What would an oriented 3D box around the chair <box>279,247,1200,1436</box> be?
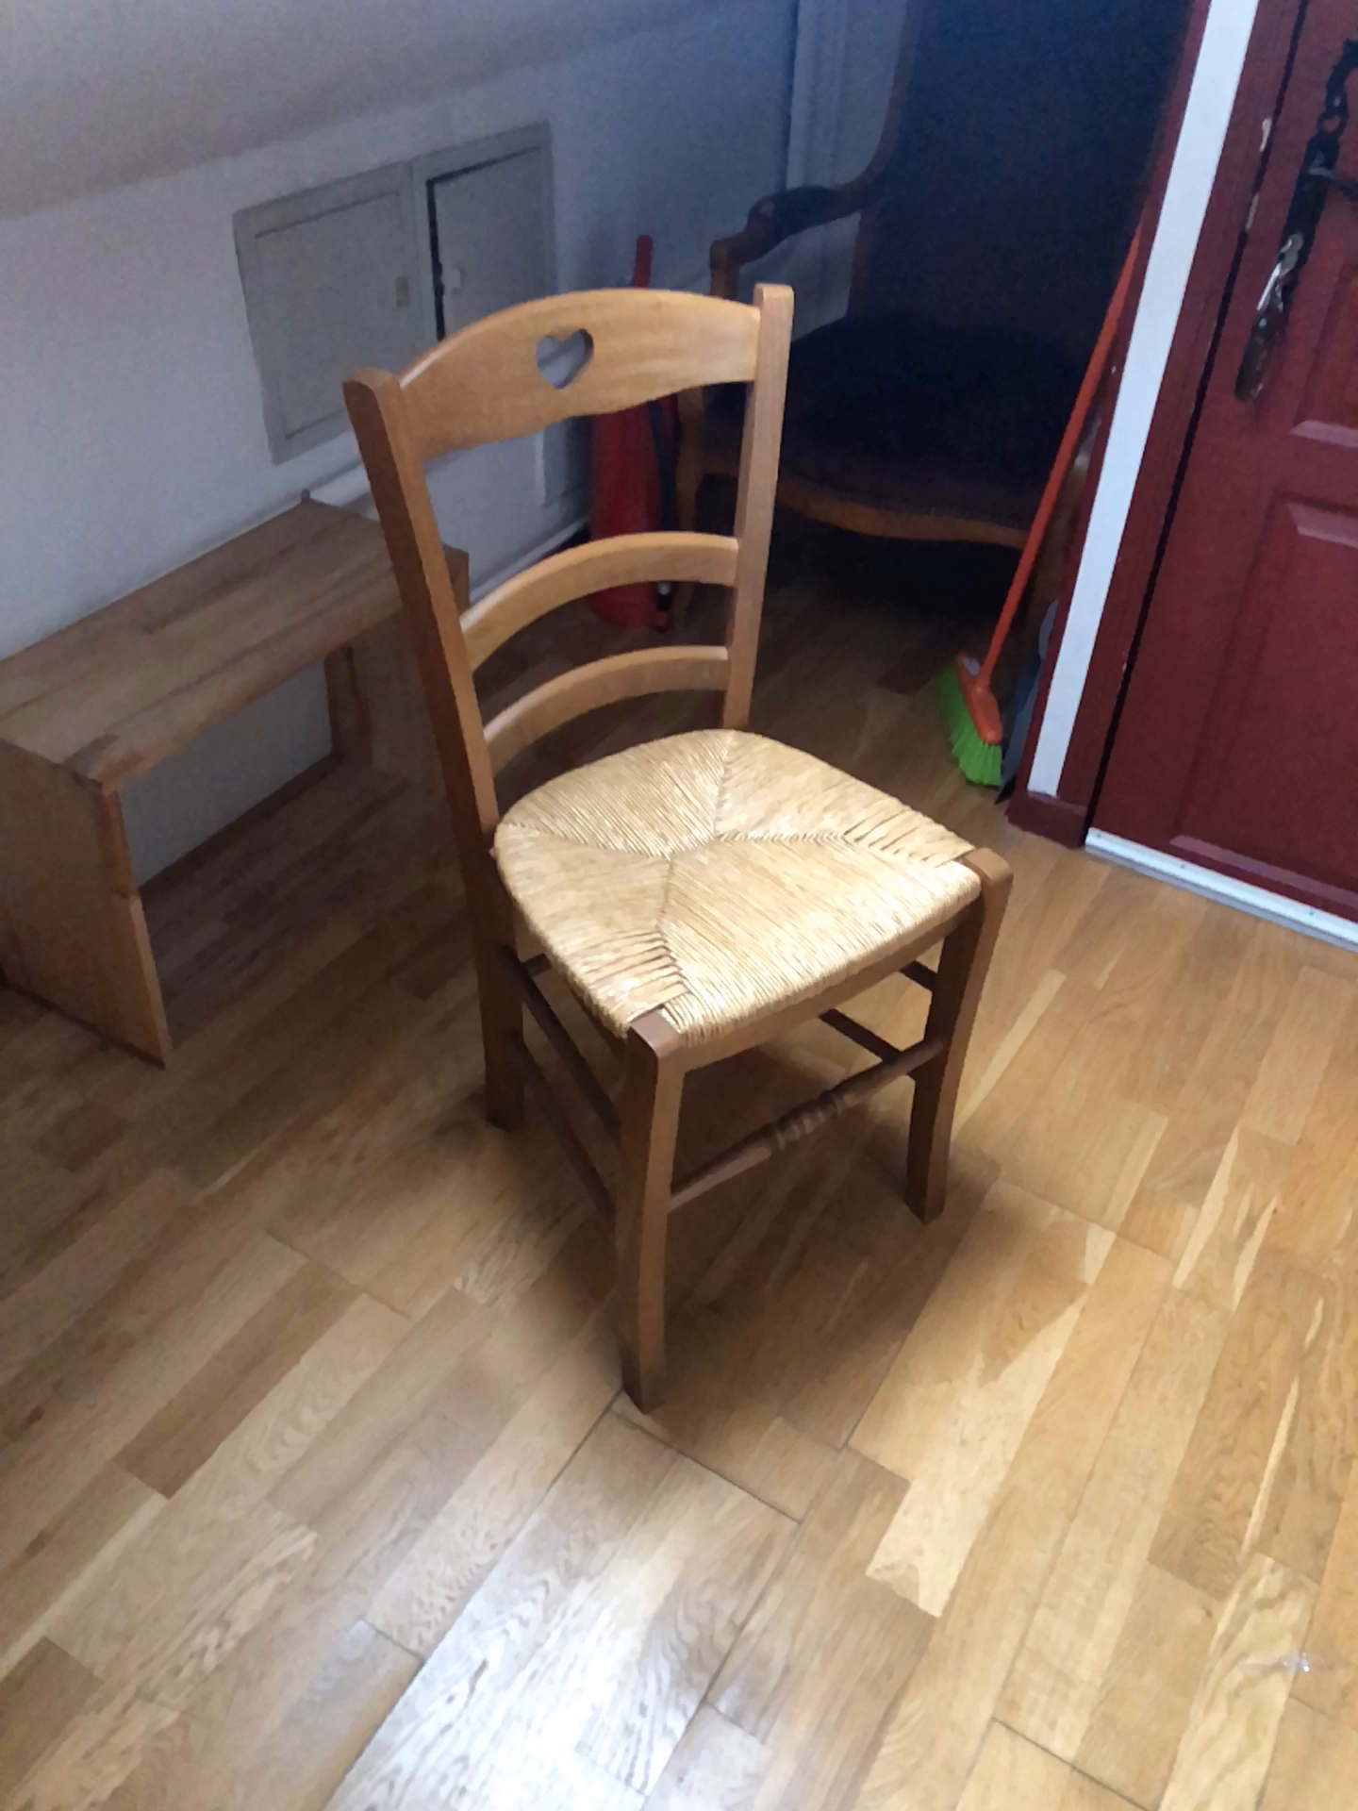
[{"bbox_3d":[0.020,-0.055,1.260,0.460,0.792,0.434,-25,47,-31],"label":"chair"}]
